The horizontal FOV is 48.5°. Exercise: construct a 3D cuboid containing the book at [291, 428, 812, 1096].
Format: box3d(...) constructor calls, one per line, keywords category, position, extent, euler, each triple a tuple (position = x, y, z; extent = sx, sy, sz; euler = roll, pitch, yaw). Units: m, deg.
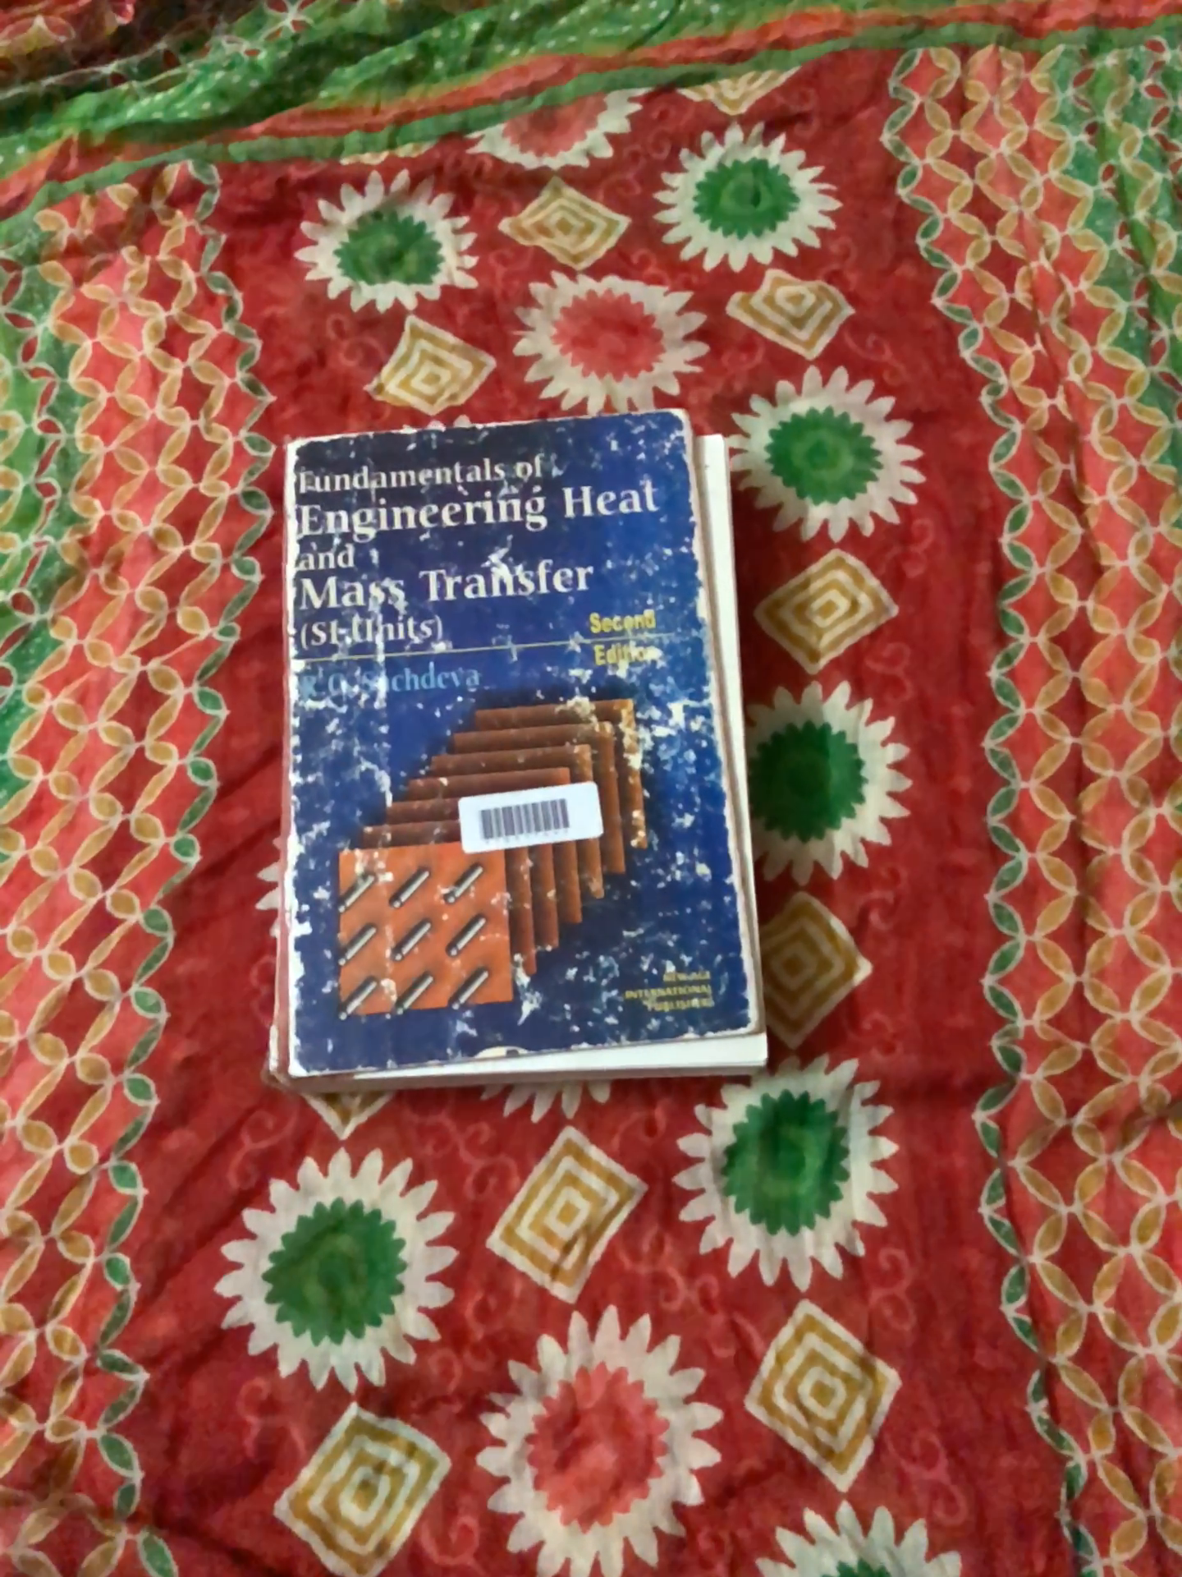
box3d(category="book", position=(-0.014, -0.011, 0.428), extent=(0.150, 0.043, 0.209), euler=(-2, 73, 2))
